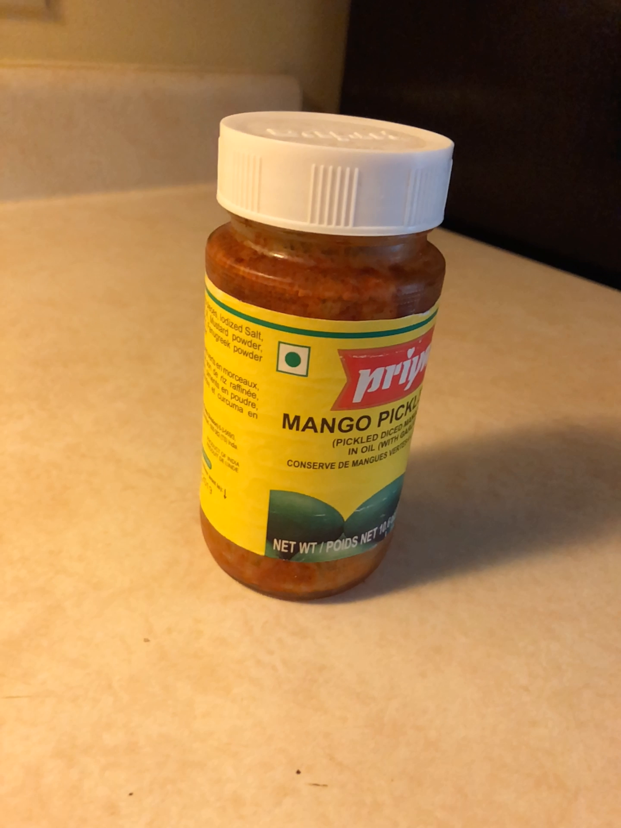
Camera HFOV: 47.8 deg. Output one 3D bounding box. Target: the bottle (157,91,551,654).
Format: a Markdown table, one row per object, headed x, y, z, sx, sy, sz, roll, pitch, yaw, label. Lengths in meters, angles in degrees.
| x | y | z | sx | sy | sz | roll | pitch | yaw | label |
| --- | --- | --- | --- | --- | --- | --- | --- | --- | --- |
| 0.005 | -0.014 | 0.195 | 0.070 | 0.130 | 0.060 | -18 | 37 | -36 | bottle |
